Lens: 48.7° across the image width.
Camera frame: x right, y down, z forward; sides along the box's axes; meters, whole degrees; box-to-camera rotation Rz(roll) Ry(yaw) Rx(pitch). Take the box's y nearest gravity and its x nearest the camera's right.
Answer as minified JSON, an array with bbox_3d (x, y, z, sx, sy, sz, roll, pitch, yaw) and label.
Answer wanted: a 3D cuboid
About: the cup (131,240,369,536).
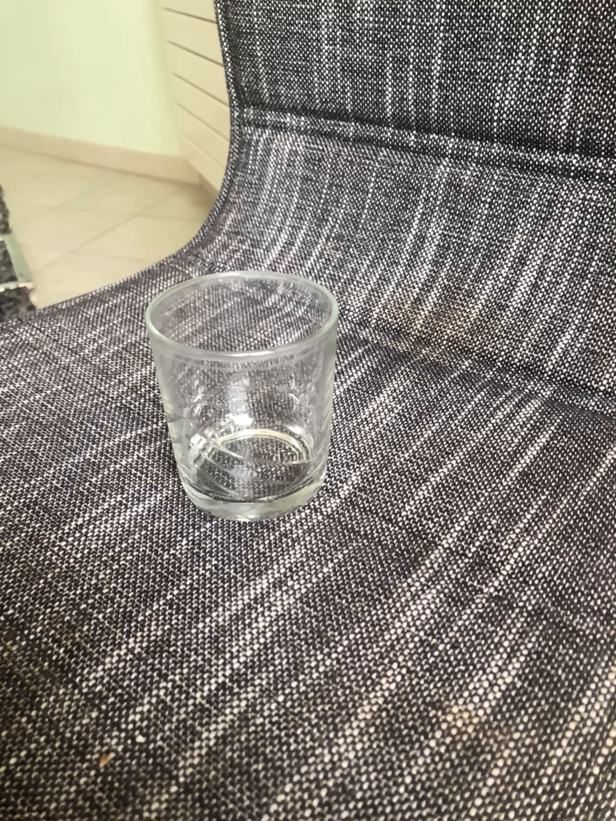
[{"bbox_3d":[-0.023,-0.012,0.270,0.070,0.080,0.070,-3,34,2],"label":"cup"}]
